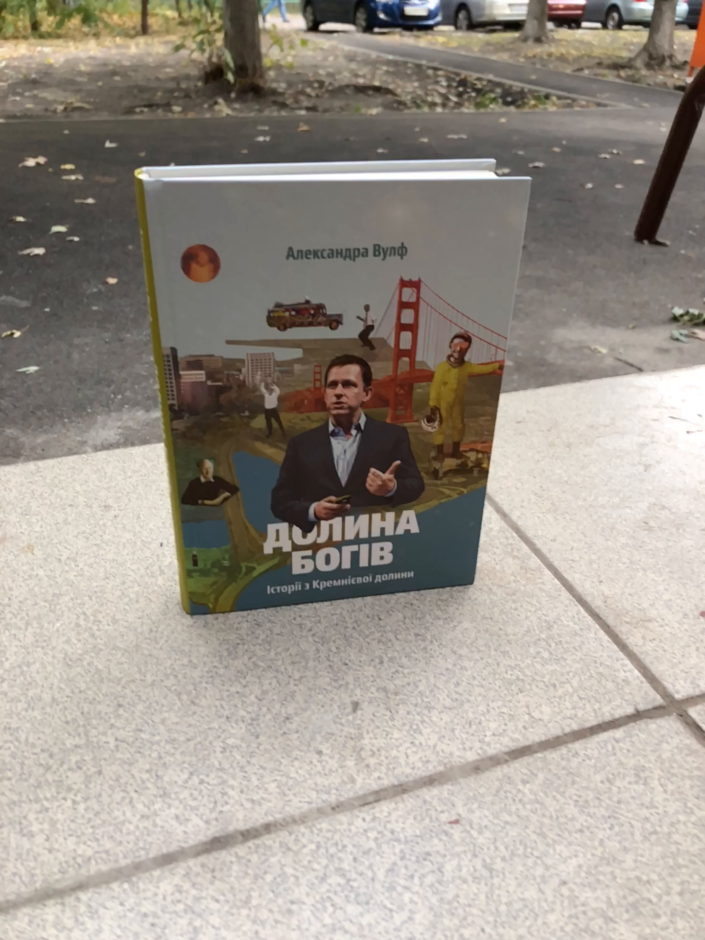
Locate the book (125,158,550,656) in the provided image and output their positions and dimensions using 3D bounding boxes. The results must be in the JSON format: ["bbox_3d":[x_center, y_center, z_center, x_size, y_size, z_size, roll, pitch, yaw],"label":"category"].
[{"bbox_3d":[-0.006,-0.025,0.354,0.160,0.208,0.045,-8,30,-15],"label":"book"}]
